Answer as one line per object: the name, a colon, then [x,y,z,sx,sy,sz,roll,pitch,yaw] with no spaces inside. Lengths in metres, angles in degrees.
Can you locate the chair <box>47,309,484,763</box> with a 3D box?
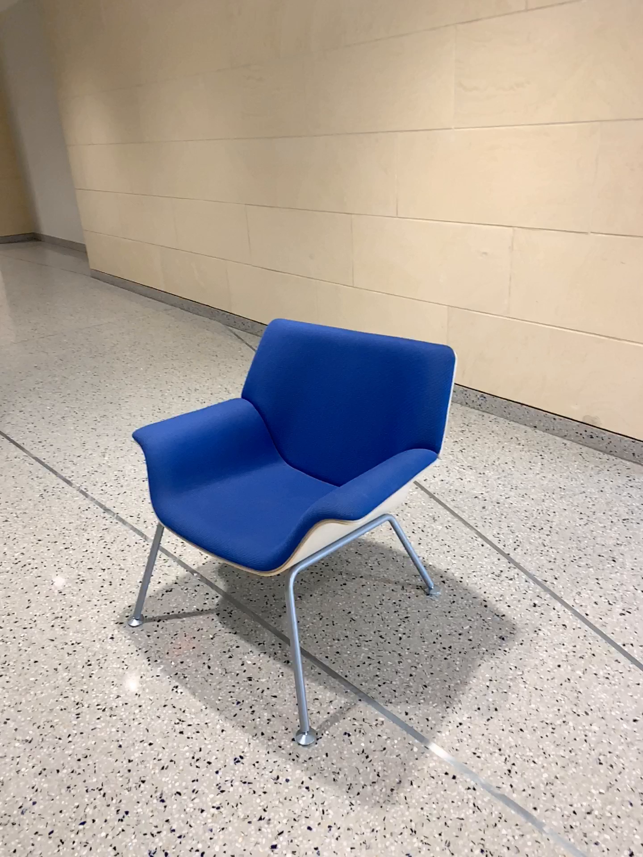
chair: [-0.112,0.170,1.777,0.781,0.729,0.760,17,31,38]
